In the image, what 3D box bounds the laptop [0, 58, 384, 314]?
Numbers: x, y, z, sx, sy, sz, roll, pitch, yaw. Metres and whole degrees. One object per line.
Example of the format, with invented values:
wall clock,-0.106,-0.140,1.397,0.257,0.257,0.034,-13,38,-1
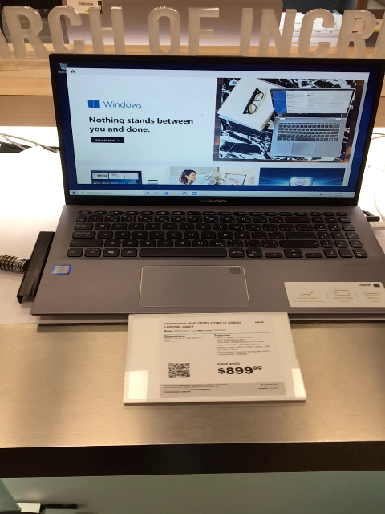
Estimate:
laptop,0.023,-0.071,0.464,0.321,0.154,0.214,0,41,-1
